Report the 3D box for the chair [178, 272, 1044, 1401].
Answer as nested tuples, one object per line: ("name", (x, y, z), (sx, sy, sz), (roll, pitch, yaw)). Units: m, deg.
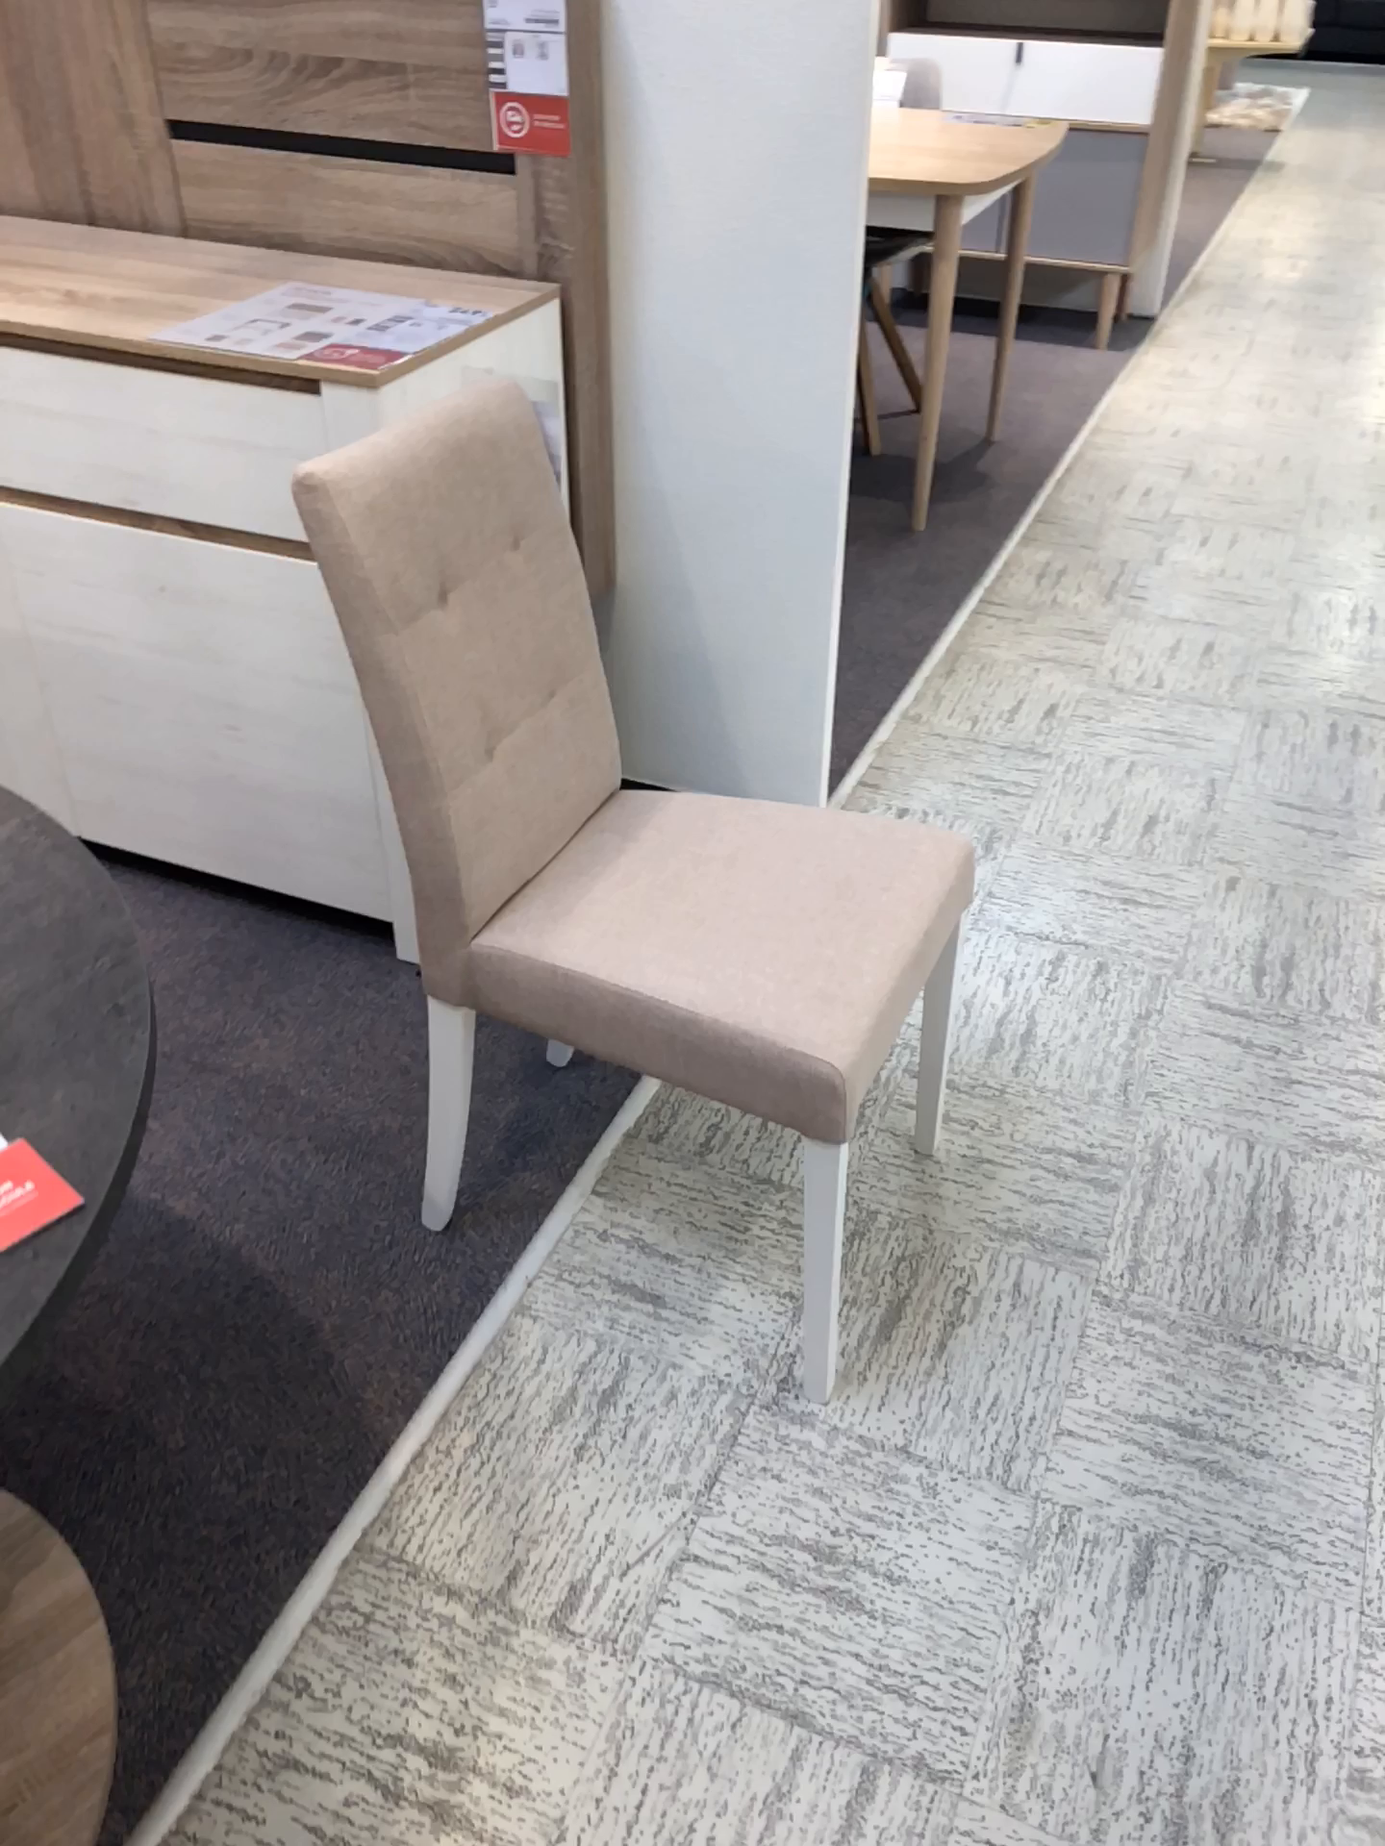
("chair", (-0.041, -0.081, 1.407), (0.530, 0.855, 0.433), (14, 37, 19))
